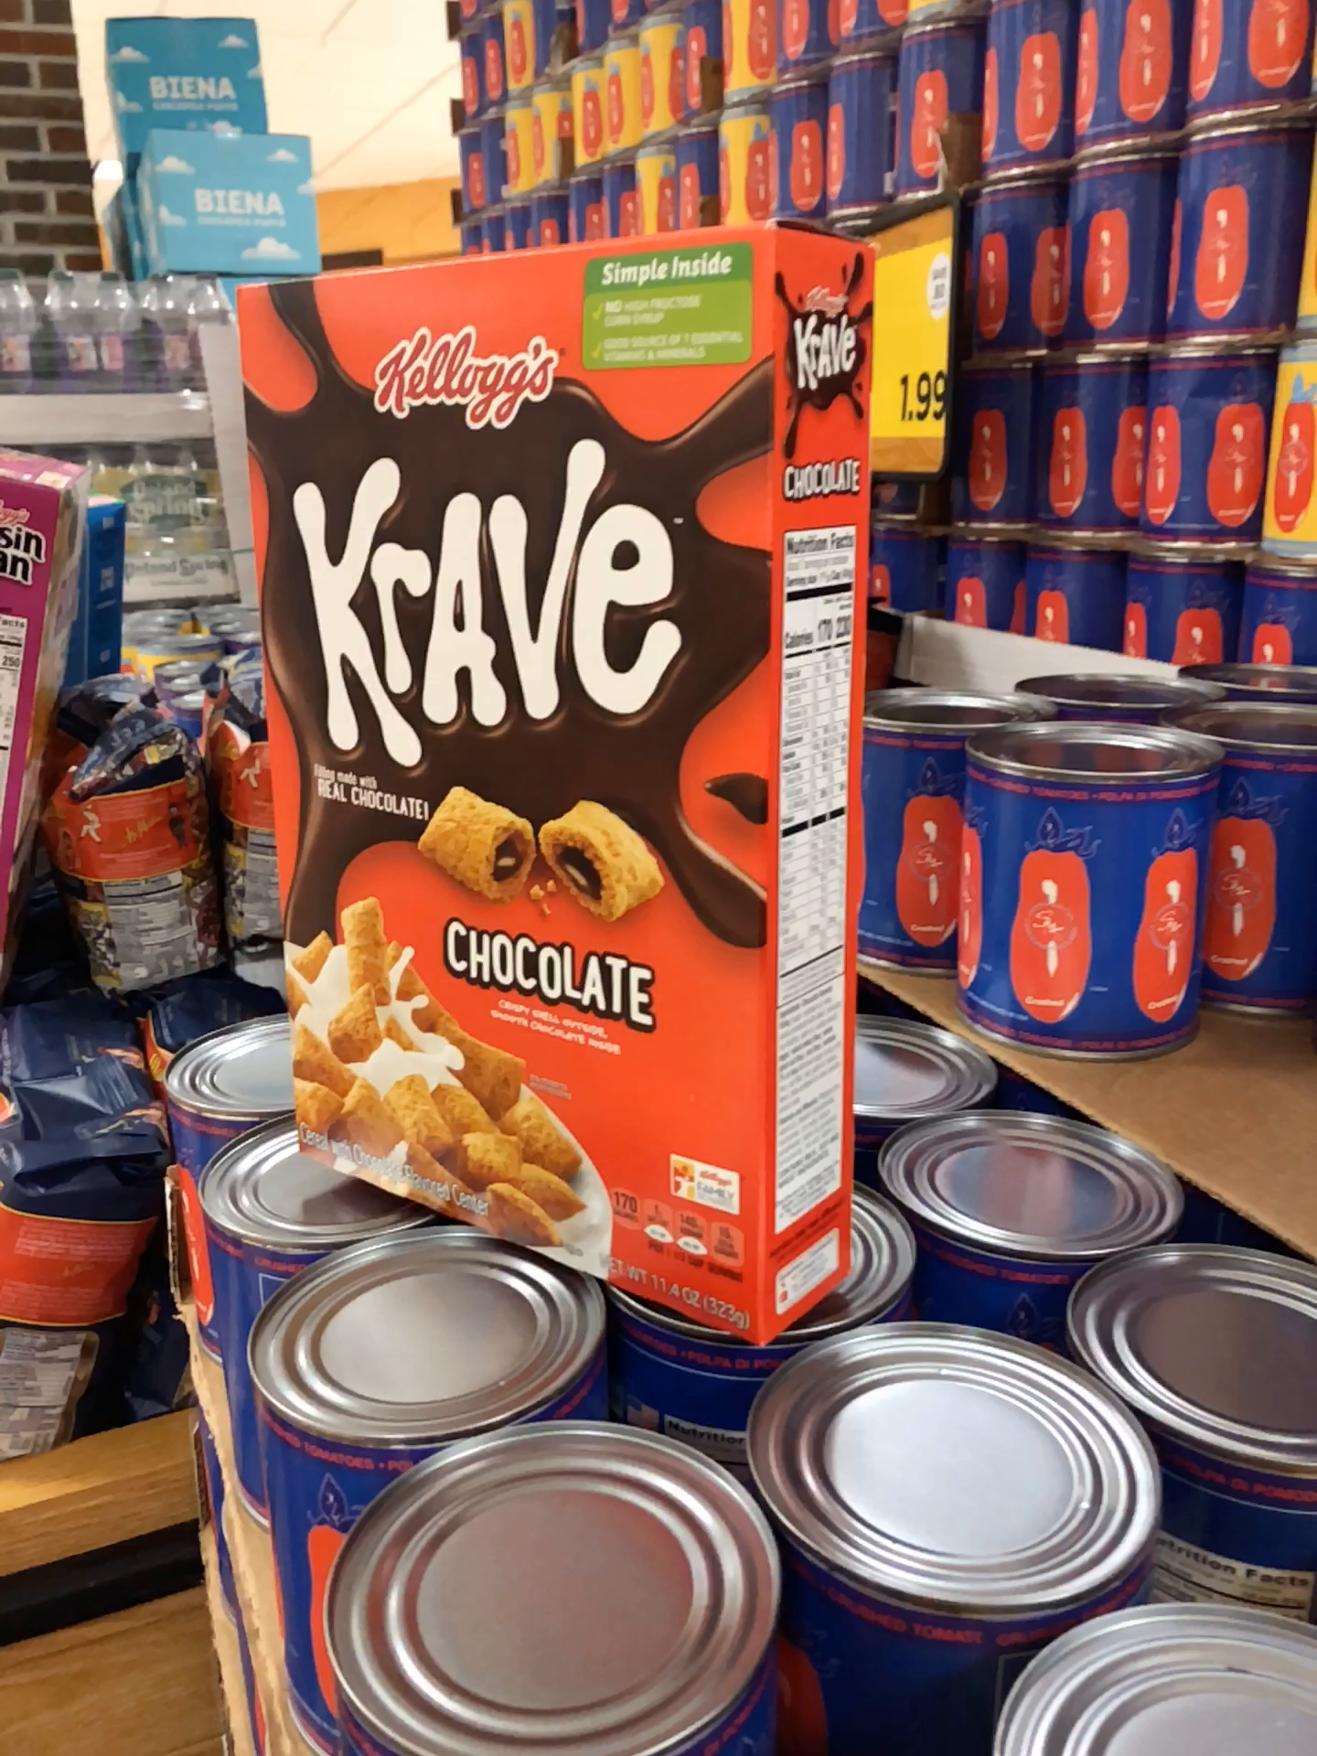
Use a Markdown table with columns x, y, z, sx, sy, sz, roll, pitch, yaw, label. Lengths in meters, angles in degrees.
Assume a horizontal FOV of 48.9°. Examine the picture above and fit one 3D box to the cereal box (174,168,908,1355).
| x | y | z | sx | sy | sz | roll | pitch | yaw | label |
| --- | --- | --- | --- | --- | --- | --- | --- | --- | --- |
| -0.040 | -0.036 | 0.430 | 0.210 | 0.289 | 0.060 | 11 | 19 | 35 | cereal box |
